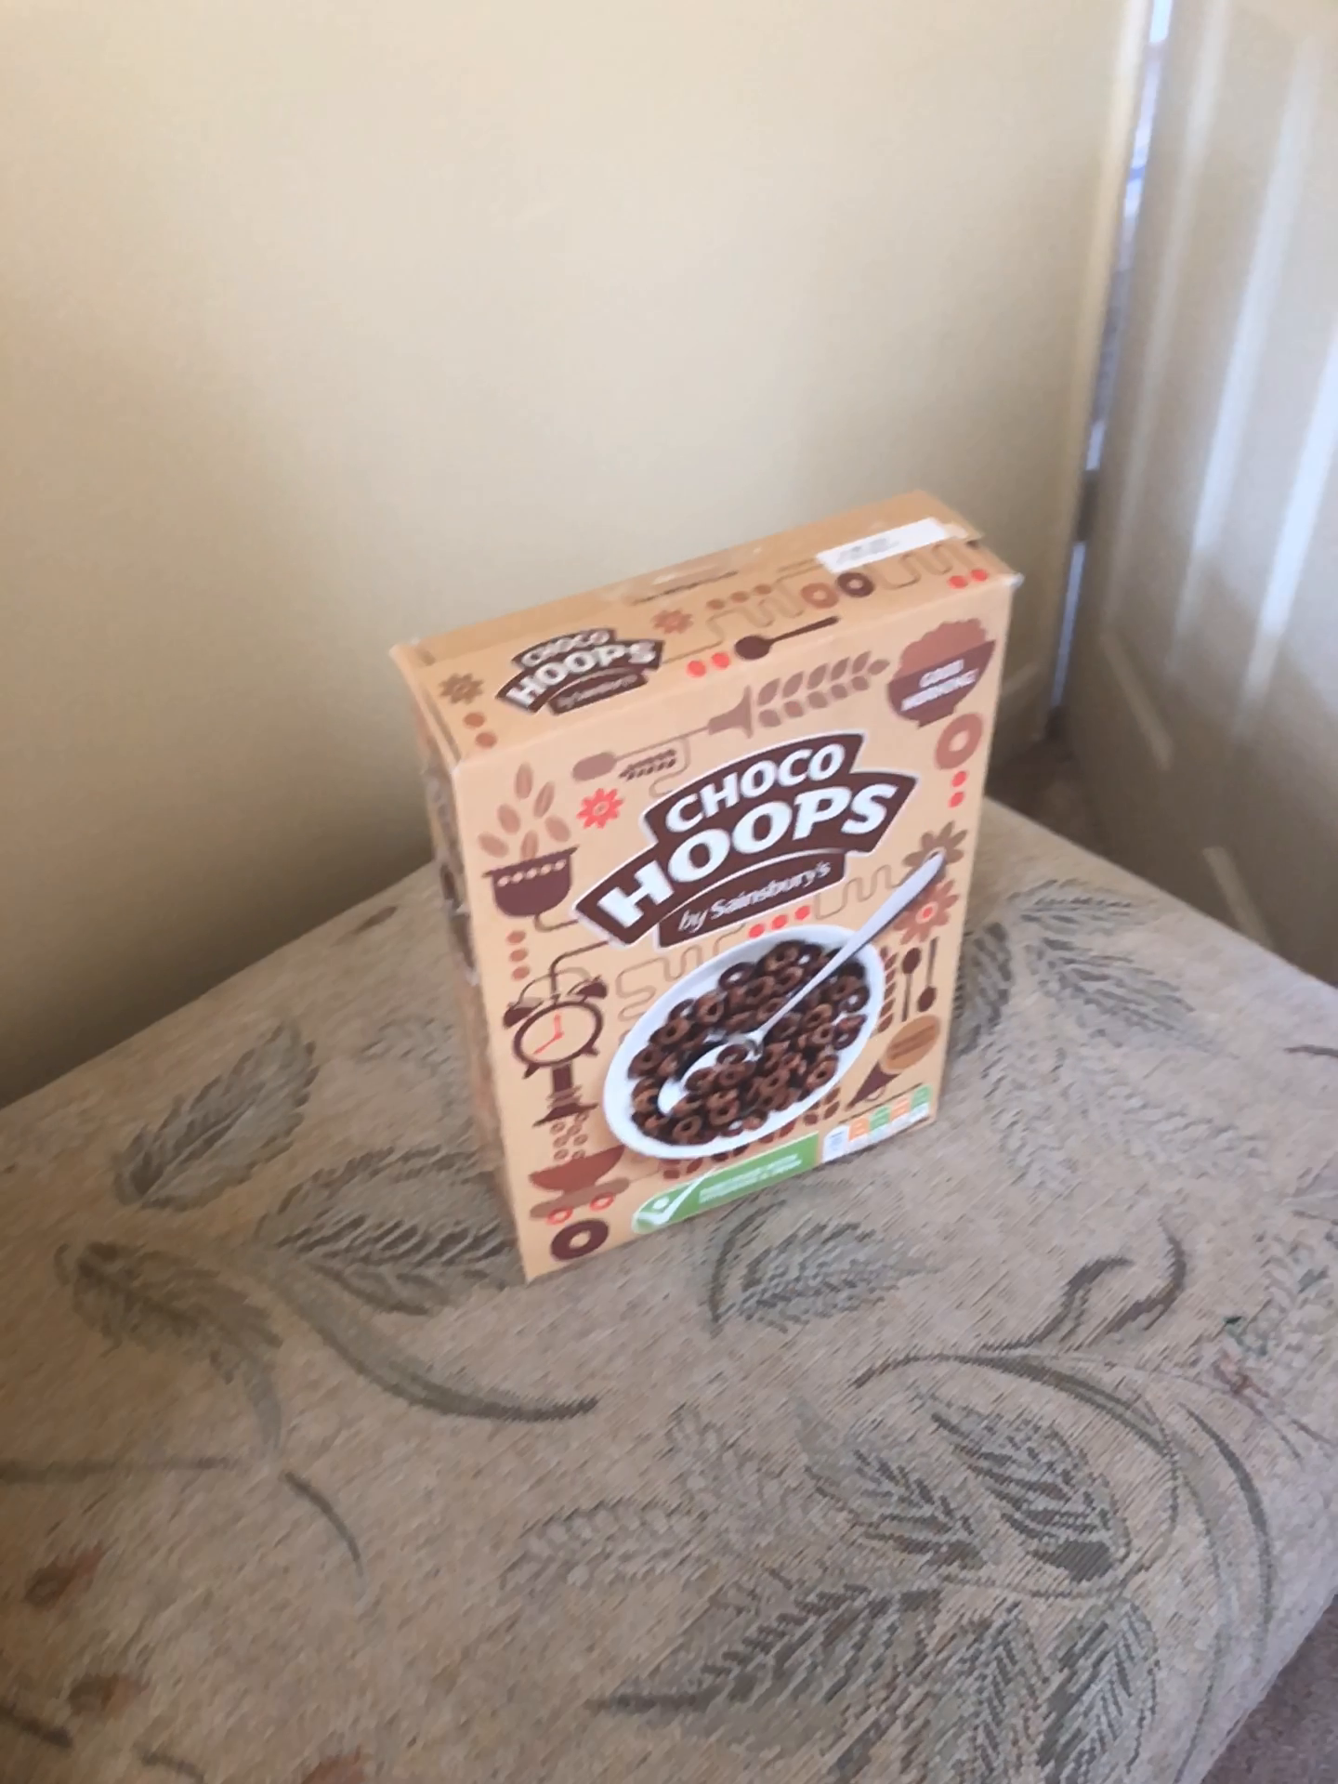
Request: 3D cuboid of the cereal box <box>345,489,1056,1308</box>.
[{"bbox_3d":[0.015,0.010,0.553,0.210,0.258,0.080,-19,45,-18],"label":"cereal box"}]
